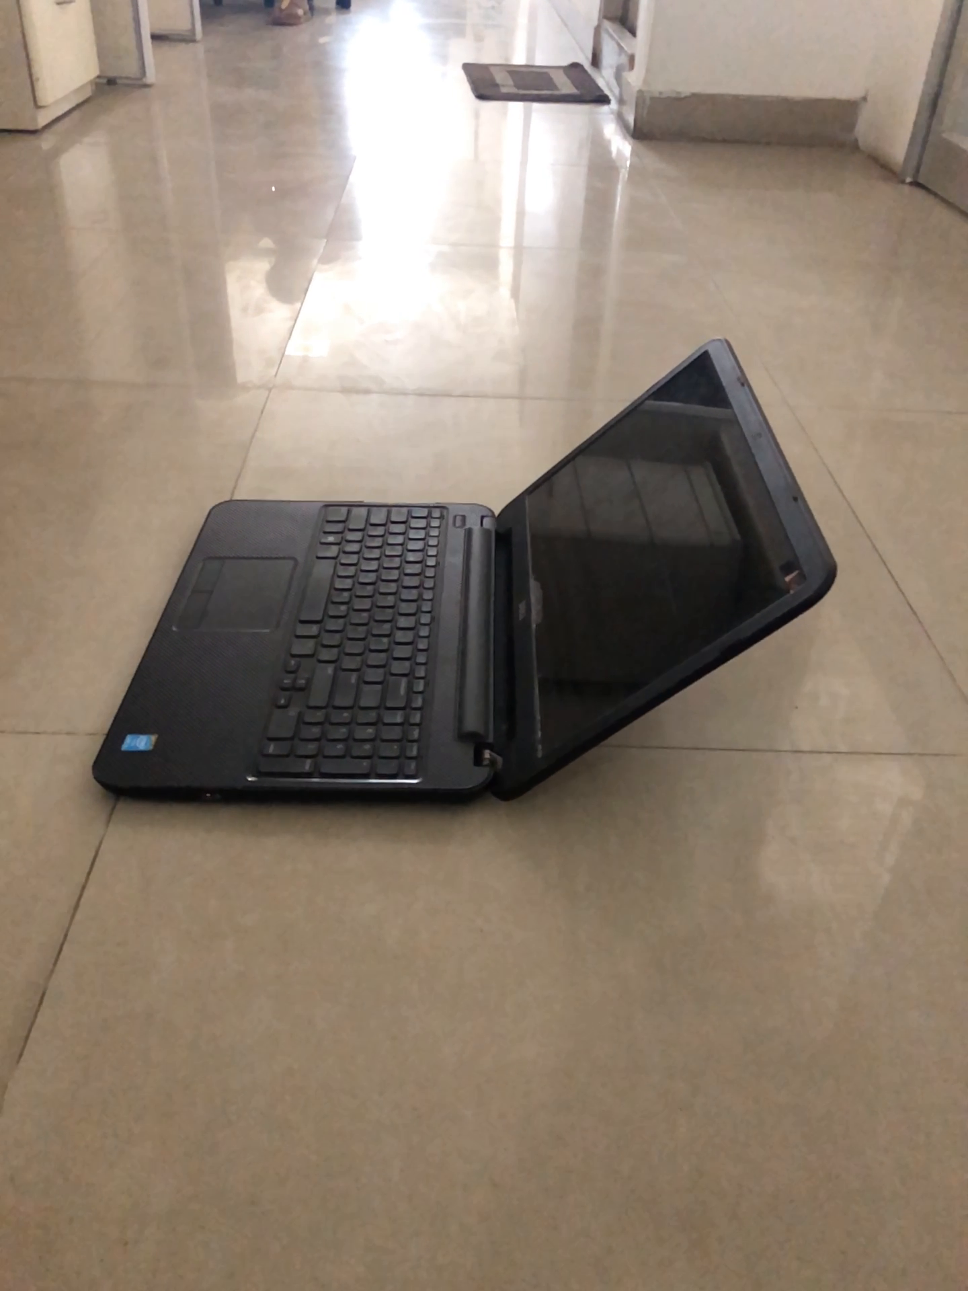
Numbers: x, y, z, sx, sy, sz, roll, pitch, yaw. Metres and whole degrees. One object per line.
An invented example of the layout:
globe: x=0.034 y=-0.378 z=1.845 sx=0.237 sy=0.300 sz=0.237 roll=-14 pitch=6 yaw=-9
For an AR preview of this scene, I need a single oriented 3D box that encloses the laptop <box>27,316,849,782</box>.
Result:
laptop: x=-0.024 y=-0.089 z=0.746 sx=0.427 sy=0.163 sz=0.360 roll=1 pitch=36 yaw=0
